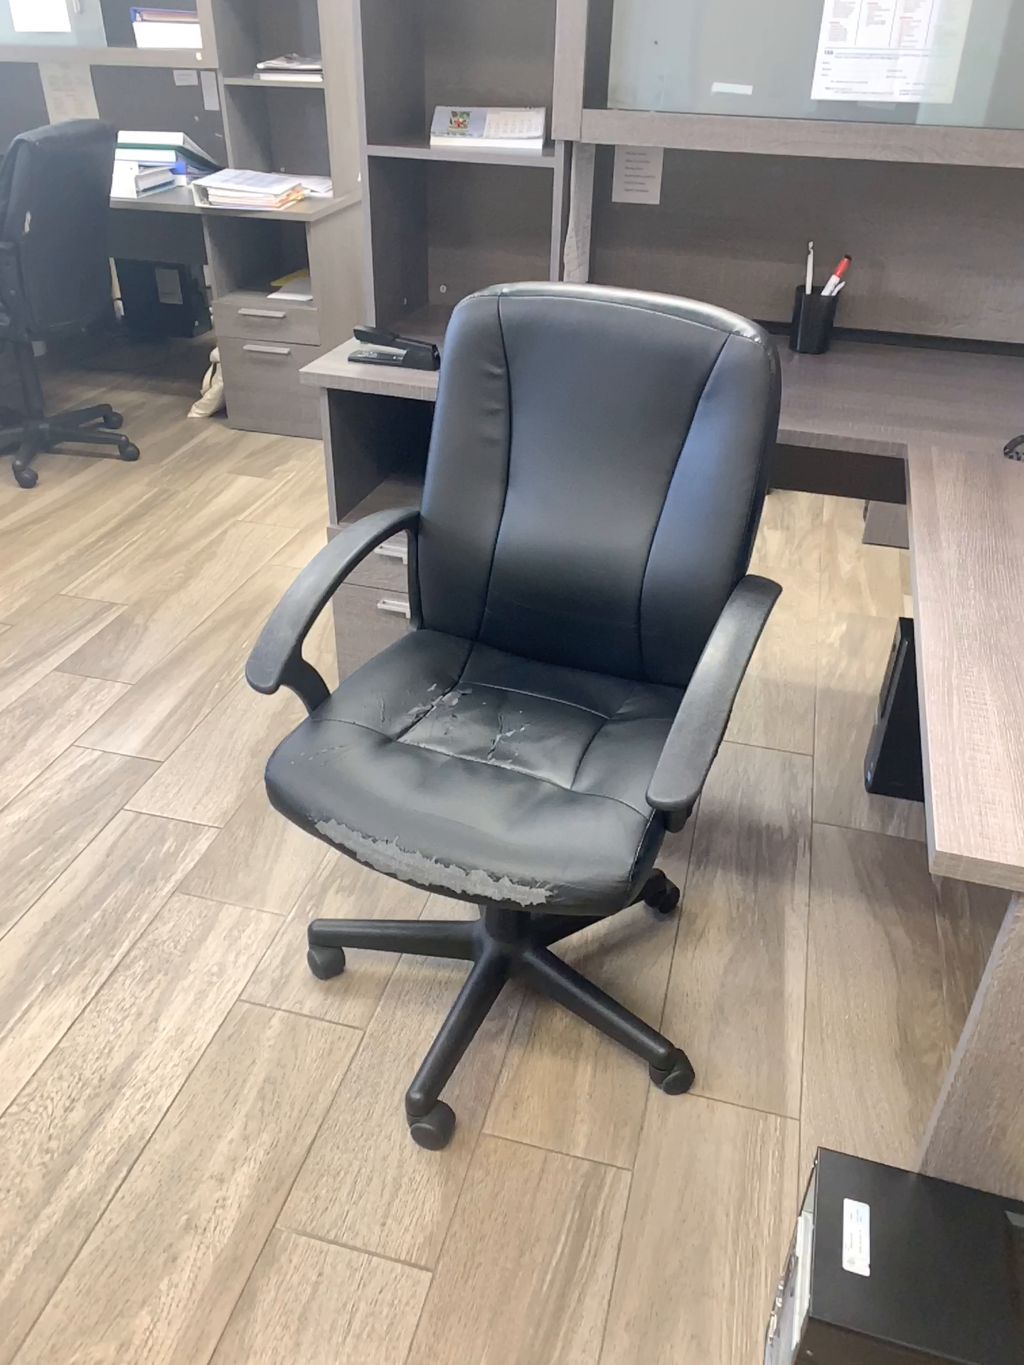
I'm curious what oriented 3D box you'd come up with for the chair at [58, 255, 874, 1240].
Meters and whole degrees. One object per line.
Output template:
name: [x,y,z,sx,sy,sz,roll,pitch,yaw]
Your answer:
chair: [0.003,0.038,1.335,0.651,0.945,0.643,13,34,17]
